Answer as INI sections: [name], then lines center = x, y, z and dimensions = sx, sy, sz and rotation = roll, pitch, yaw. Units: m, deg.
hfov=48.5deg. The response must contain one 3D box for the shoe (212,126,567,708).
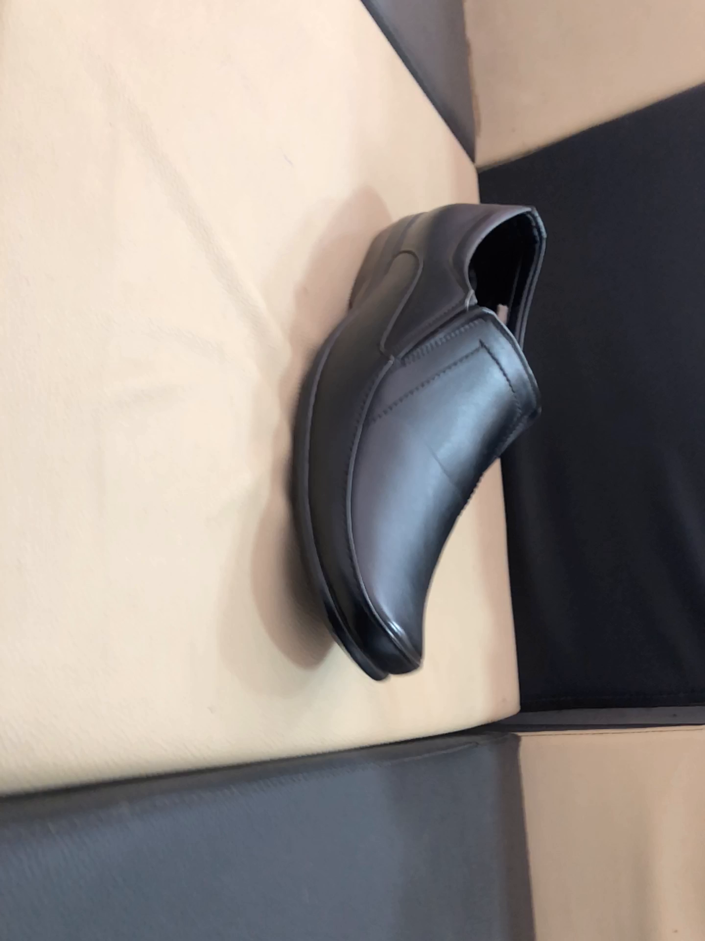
[shoe]
center = 0.041, -0.040, 0.398
dimensions = 0.101, 0.099, 0.291
rotation = 54, 37, -40
